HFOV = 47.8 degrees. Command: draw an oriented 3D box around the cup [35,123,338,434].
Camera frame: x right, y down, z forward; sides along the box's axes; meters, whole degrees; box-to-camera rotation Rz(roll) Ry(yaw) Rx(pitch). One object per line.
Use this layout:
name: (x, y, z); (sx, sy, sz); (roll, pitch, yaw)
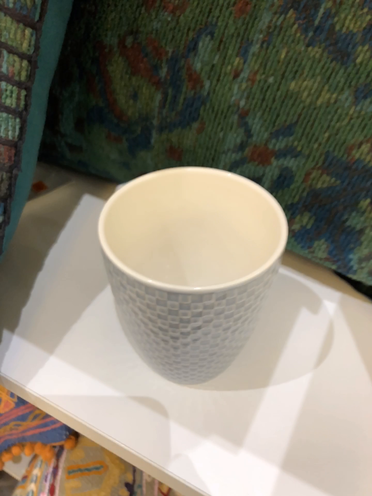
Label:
cup: (-0.004, 0.007, 0.207); (0.090, 0.079, 0.100); (-24, 49, -23)
